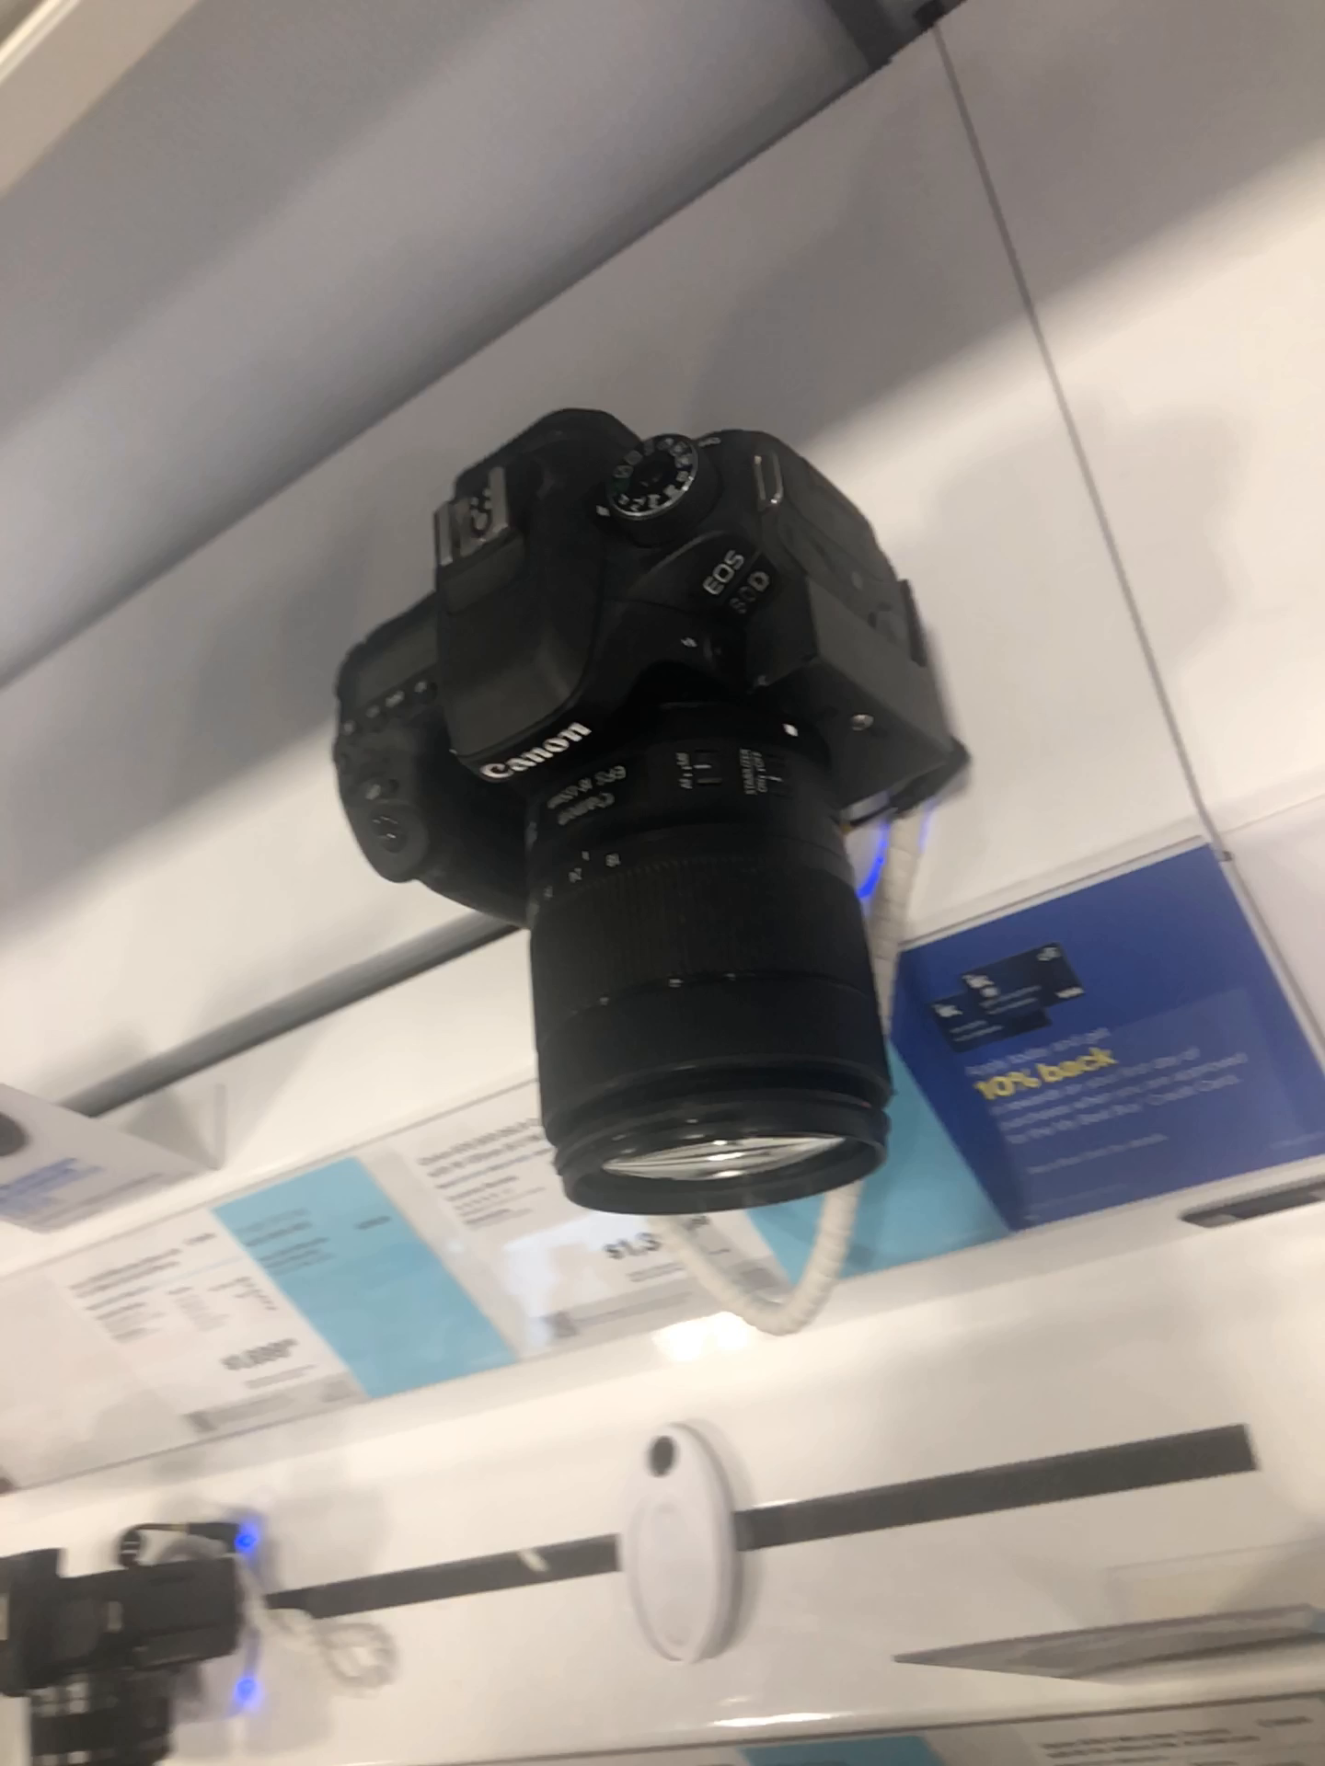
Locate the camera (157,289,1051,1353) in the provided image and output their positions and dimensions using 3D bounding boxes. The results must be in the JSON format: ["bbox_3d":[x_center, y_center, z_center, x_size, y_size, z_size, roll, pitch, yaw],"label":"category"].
[{"bbox_3d":[-0.023,0.000,0.342,0.150,0.110,0.180,-24,60,29],"label":"camera"}]
